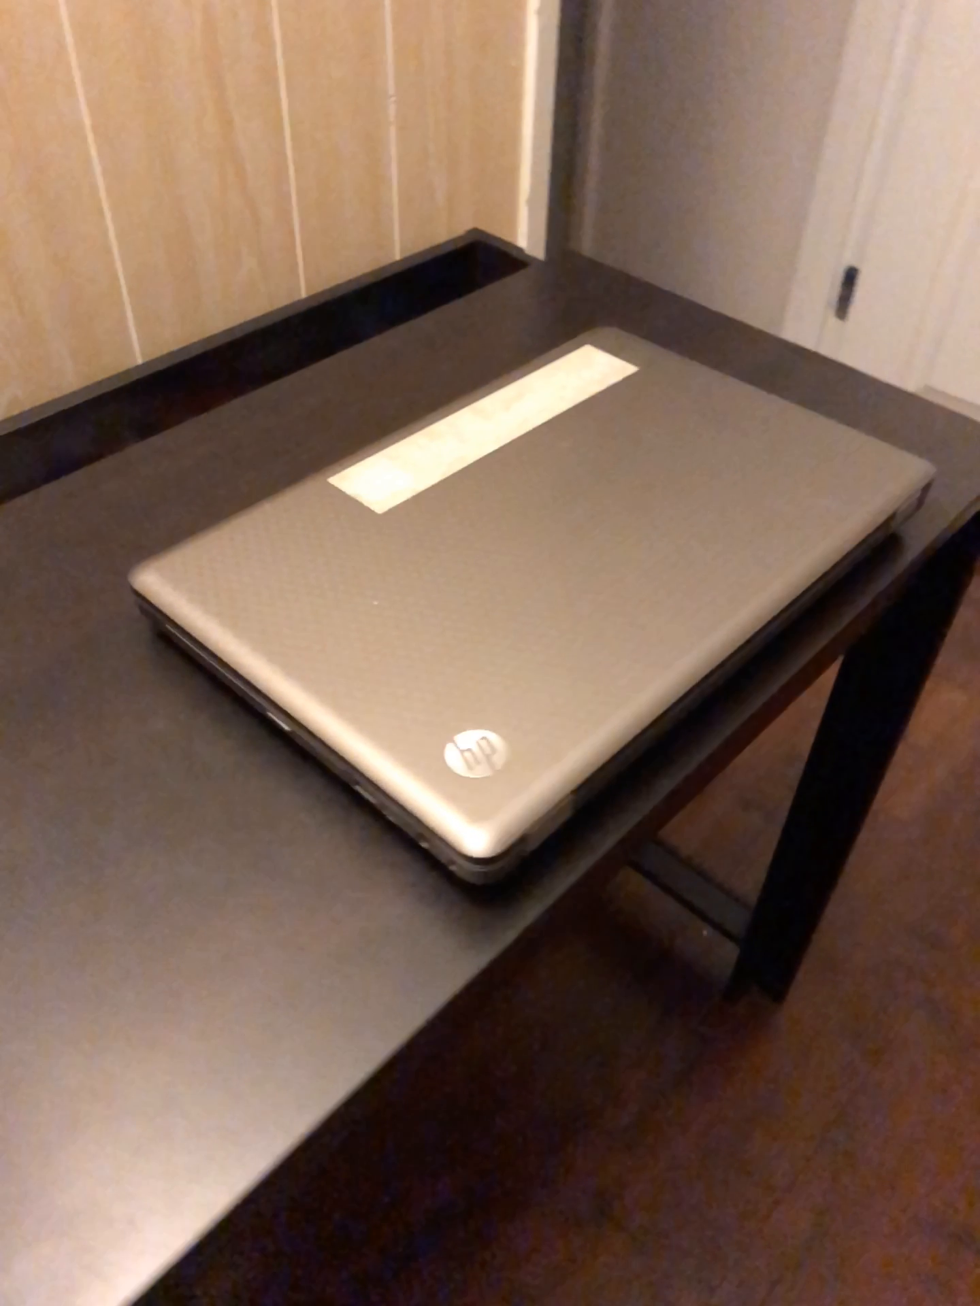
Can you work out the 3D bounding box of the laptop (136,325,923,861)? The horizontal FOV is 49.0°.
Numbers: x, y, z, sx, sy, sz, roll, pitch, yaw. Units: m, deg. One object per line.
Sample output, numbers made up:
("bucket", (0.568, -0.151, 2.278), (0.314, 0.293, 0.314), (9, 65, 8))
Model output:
("laptop", (0.034, -0.070, 0.565), (0.238, 0.001, 0.358), (35, 53, 29))
